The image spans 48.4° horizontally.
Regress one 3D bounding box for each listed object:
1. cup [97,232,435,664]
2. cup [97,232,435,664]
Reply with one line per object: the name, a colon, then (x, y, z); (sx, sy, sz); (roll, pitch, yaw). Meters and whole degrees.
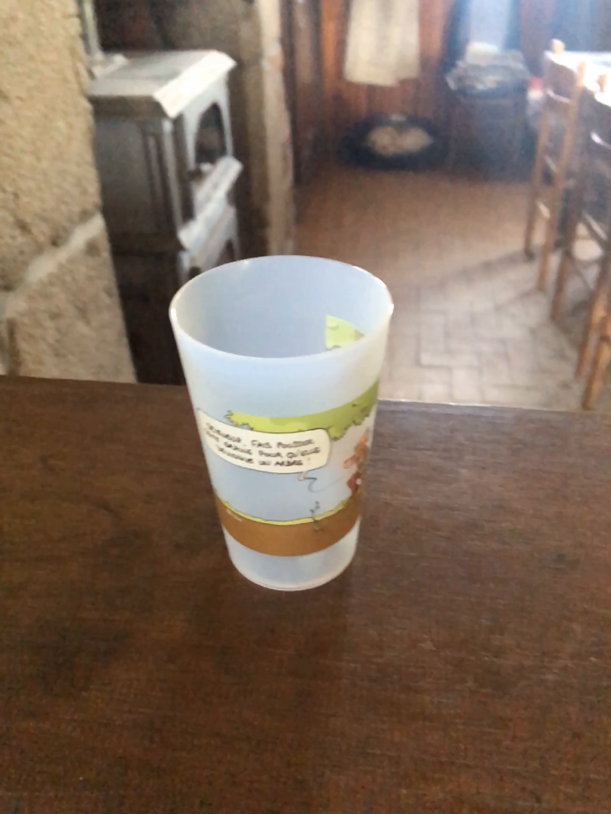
cup: (-0.013, 0.012, 0.259); (0.080, 0.119, 0.080); (-1, 35, 1)
cup: (-0.013, 0.012, 0.259); (0.080, 0.119, 0.080); (-1, 35, 1)
